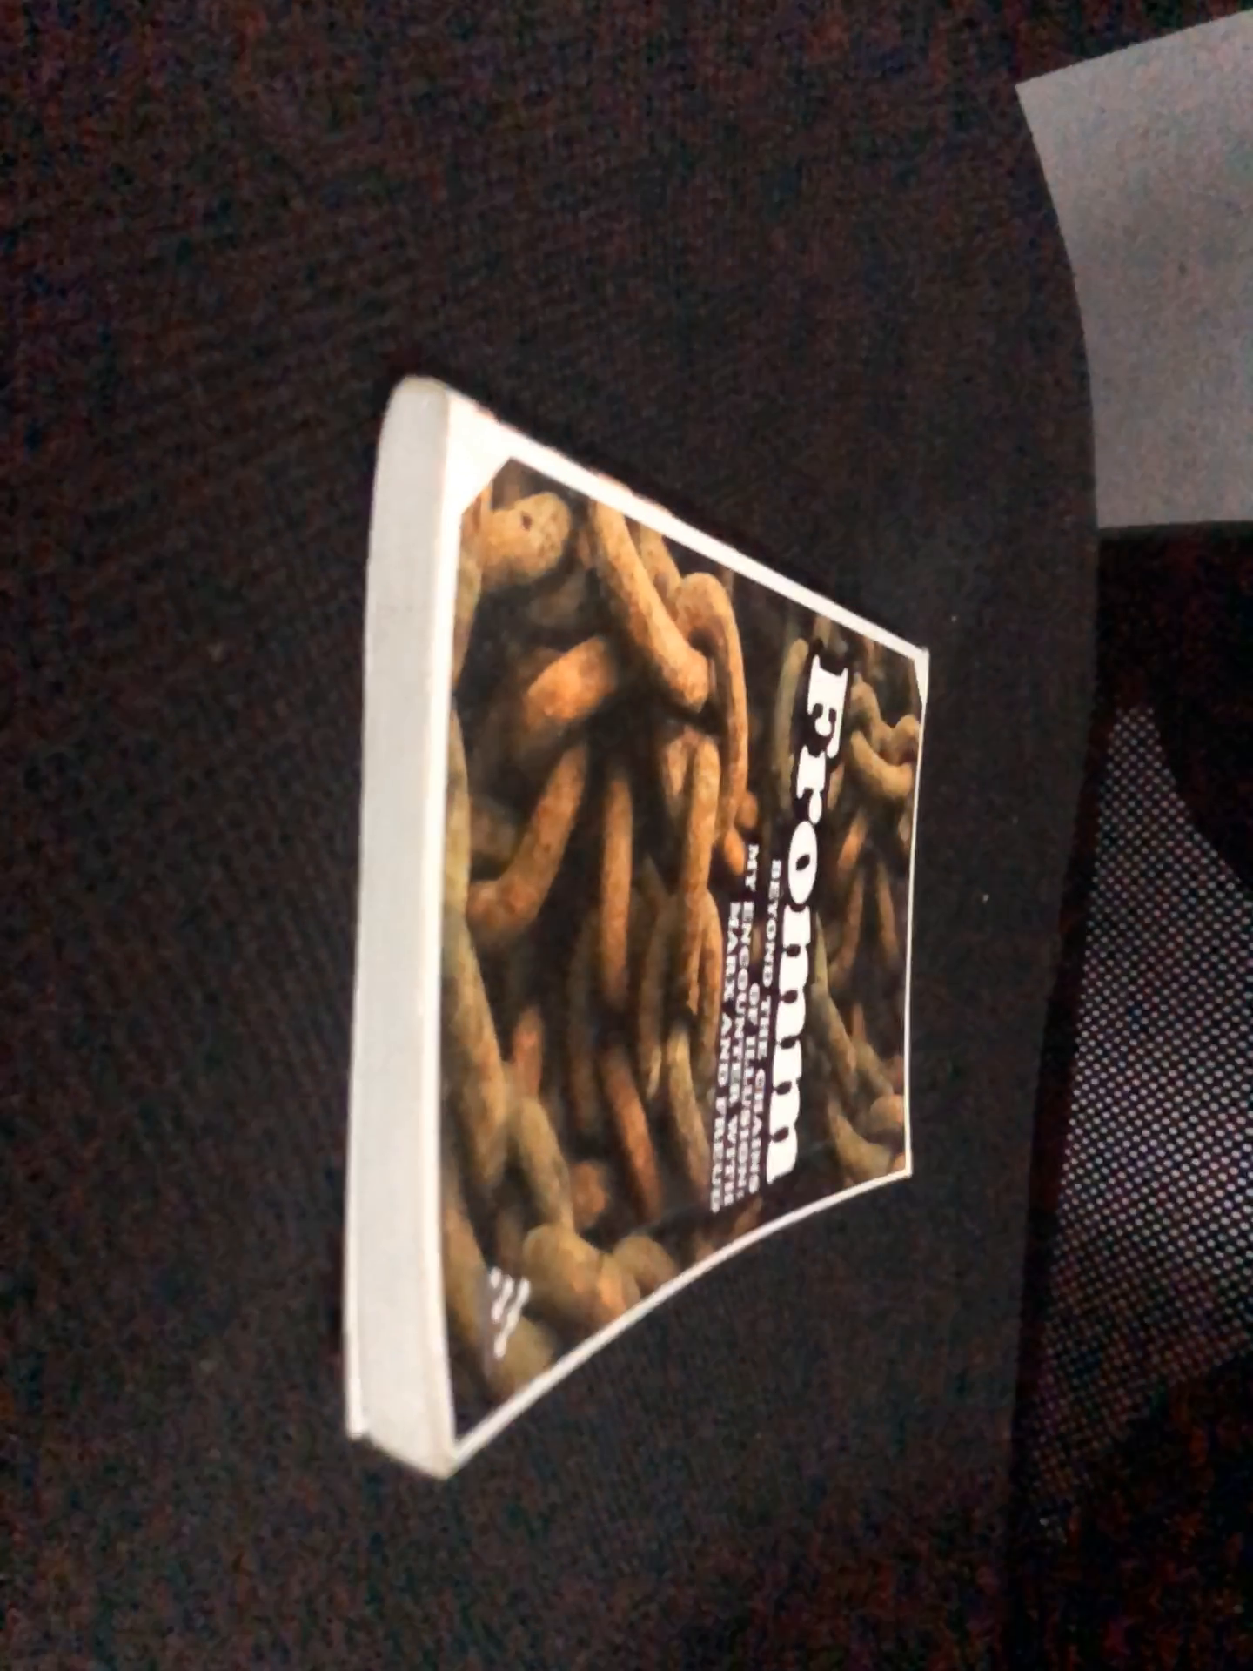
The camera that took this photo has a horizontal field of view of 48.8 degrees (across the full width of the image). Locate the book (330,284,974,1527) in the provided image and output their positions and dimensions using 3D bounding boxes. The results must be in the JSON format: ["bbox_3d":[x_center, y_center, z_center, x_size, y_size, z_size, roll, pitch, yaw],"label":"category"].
[{"bbox_3d":[0.024,0.013,0.247,0.196,0.016,0.144,8,82,-58],"label":"book"}]
